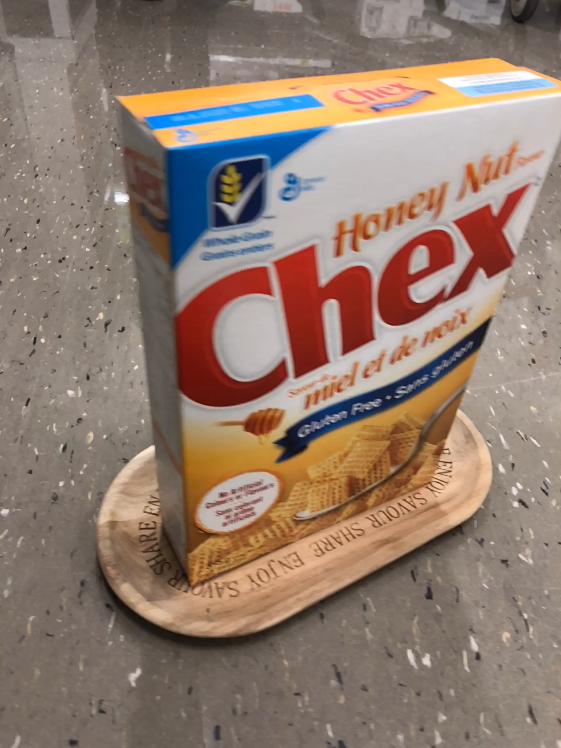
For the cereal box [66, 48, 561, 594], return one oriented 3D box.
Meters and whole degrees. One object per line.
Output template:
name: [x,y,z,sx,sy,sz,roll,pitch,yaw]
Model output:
cereal box: [0.016,-0.016,0.352,0.210,0.279,0.060,-17,46,-23]
